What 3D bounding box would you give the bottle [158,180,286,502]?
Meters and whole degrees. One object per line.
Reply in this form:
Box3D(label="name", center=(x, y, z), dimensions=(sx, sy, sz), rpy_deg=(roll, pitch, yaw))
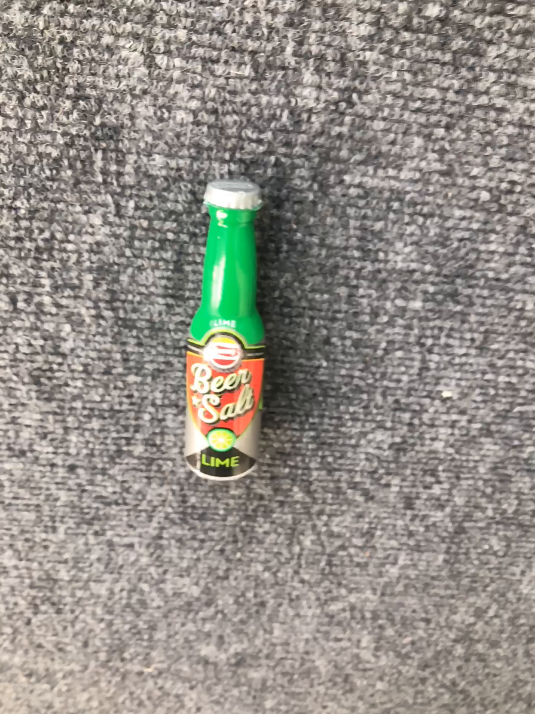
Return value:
Box3D(label="bottle", center=(-0.016, -0.001, 0.195), dimensions=(0.033, 0.030, 0.102), rpy_deg=(2, 122, -4))
